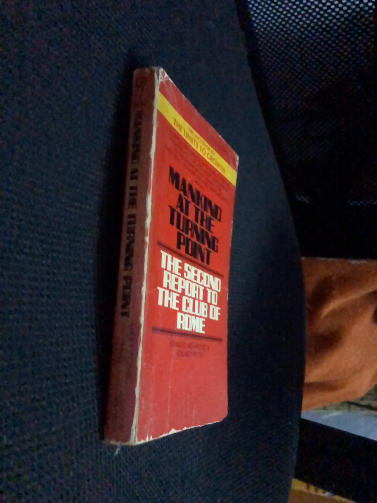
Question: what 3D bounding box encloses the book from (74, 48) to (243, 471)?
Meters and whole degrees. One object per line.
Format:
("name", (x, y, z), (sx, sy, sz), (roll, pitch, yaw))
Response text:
("book", (-0.004, 0.007, 0.245), (0.117, 0.025, 0.194), (26, 64, -59))
